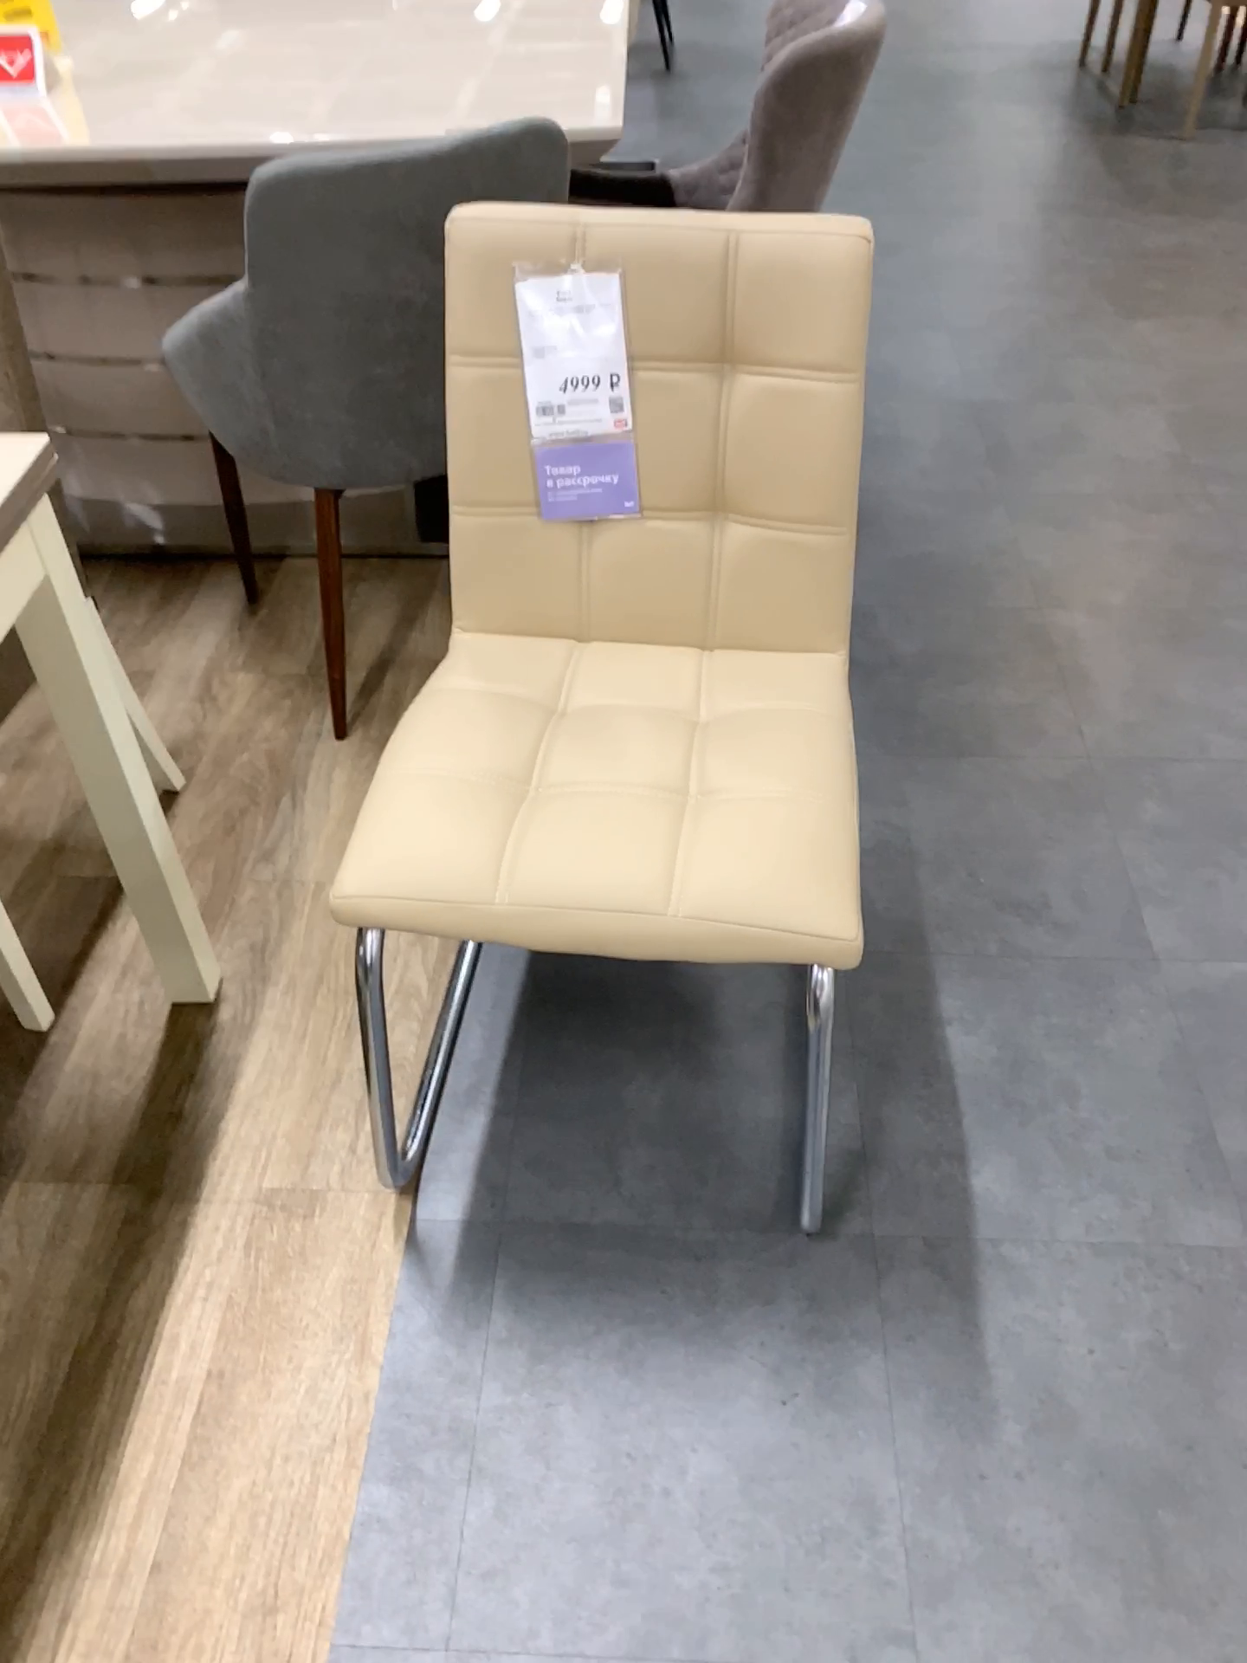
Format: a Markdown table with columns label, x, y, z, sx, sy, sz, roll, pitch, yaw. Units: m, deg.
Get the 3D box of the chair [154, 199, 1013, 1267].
| label | x | y | z | sx | sy | sz | roll | pitch | yaw |
| --- | --- | --- | --- | --- | --- | --- | --- | --- | --- |
| chair | 0.019 | -0.096 | 1.293 | 0.530 | 0.815 | 0.654 | 4 | 43 | 7 |
